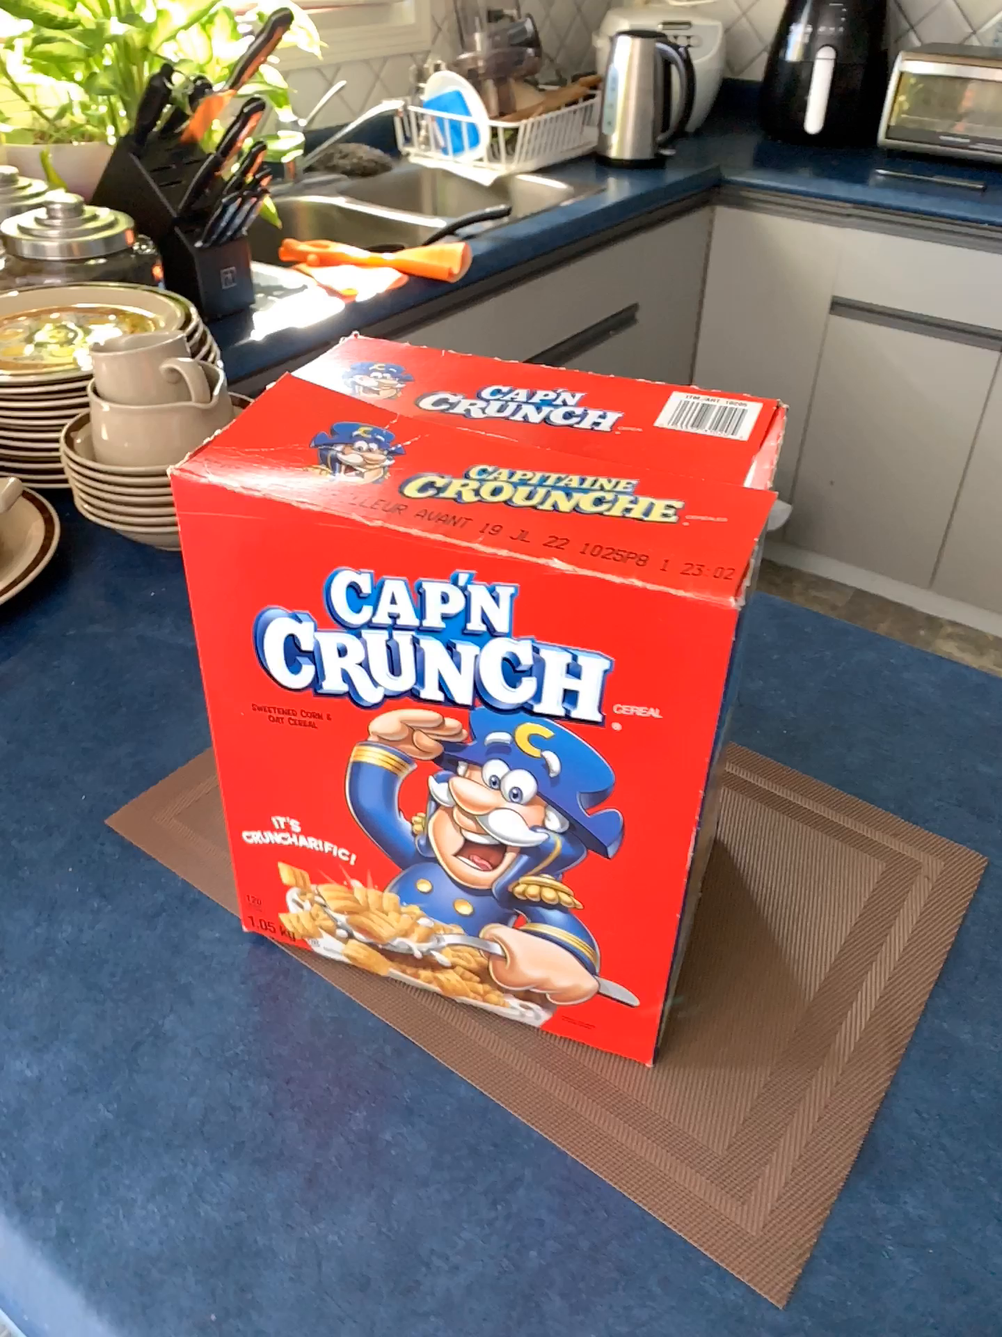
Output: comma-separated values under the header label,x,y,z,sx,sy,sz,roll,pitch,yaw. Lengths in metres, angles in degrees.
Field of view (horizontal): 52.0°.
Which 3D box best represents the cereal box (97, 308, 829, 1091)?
label,x,y,z,sx,sy,sz,roll,pitch,yaw
cereal box,-0.004,0.005,0.551,0.270,0.297,0.212,13,38,16
